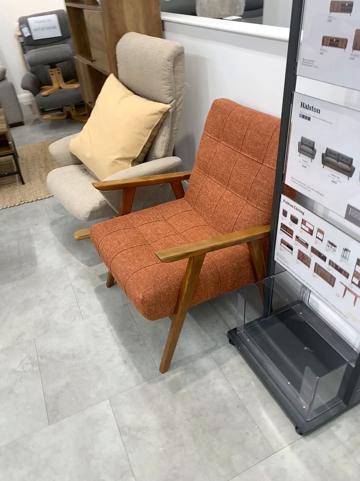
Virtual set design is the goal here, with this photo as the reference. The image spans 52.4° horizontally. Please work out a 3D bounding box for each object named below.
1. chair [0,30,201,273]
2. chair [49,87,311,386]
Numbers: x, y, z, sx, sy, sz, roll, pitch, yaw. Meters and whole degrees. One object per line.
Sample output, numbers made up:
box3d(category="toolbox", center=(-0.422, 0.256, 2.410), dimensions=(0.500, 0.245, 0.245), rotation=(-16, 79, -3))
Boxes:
box3d(category="chair", center=(-0.384, -0.530, 2.040), dimensions=(0.681, 1.013, 0.701), rotation=(-28, 42, -29))
box3d(category="chair", center=(-0.014, -0.070, 1.579), dimensions=(0.700, 0.884, 0.692), rotation=(-21, 39, -22))
